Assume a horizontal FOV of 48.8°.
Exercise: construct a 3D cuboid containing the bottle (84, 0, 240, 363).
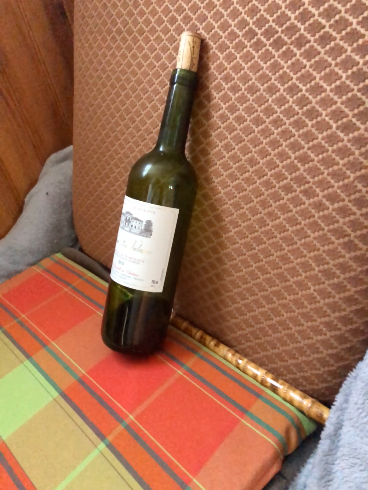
[{"bbox_3d":[-0.030,-0.057,0.422,0.070,0.339,0.080,3,13,-38],"label":"bottle"}]
